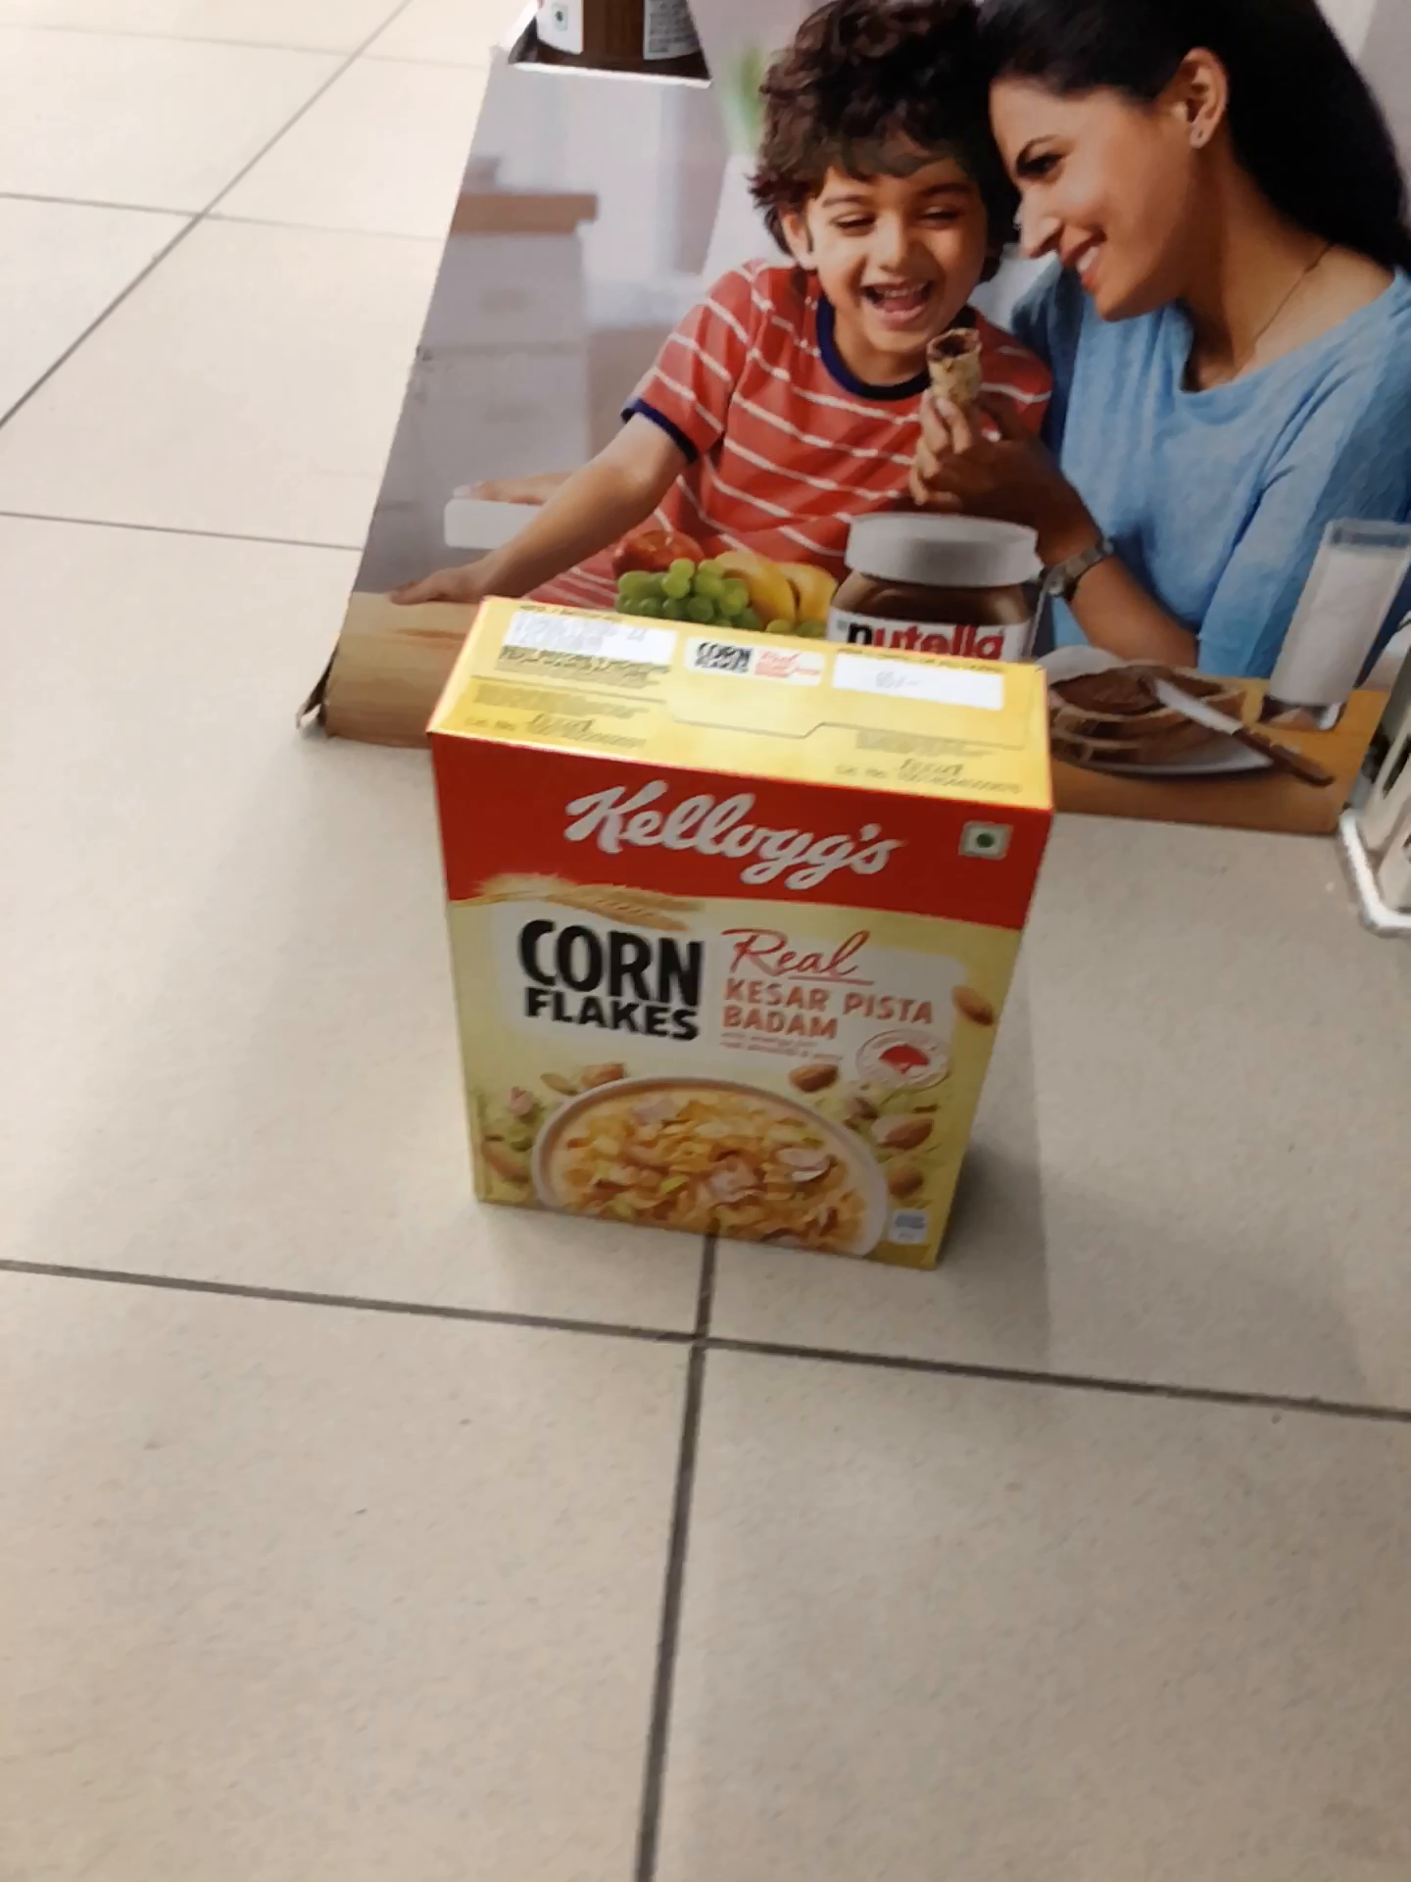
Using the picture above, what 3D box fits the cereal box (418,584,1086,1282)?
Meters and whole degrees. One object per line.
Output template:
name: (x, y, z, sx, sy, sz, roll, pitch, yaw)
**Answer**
cereal box: (0.007, 0.005, 0.404, 0.140, 0.169, 0.060, 7, 43, 2)
